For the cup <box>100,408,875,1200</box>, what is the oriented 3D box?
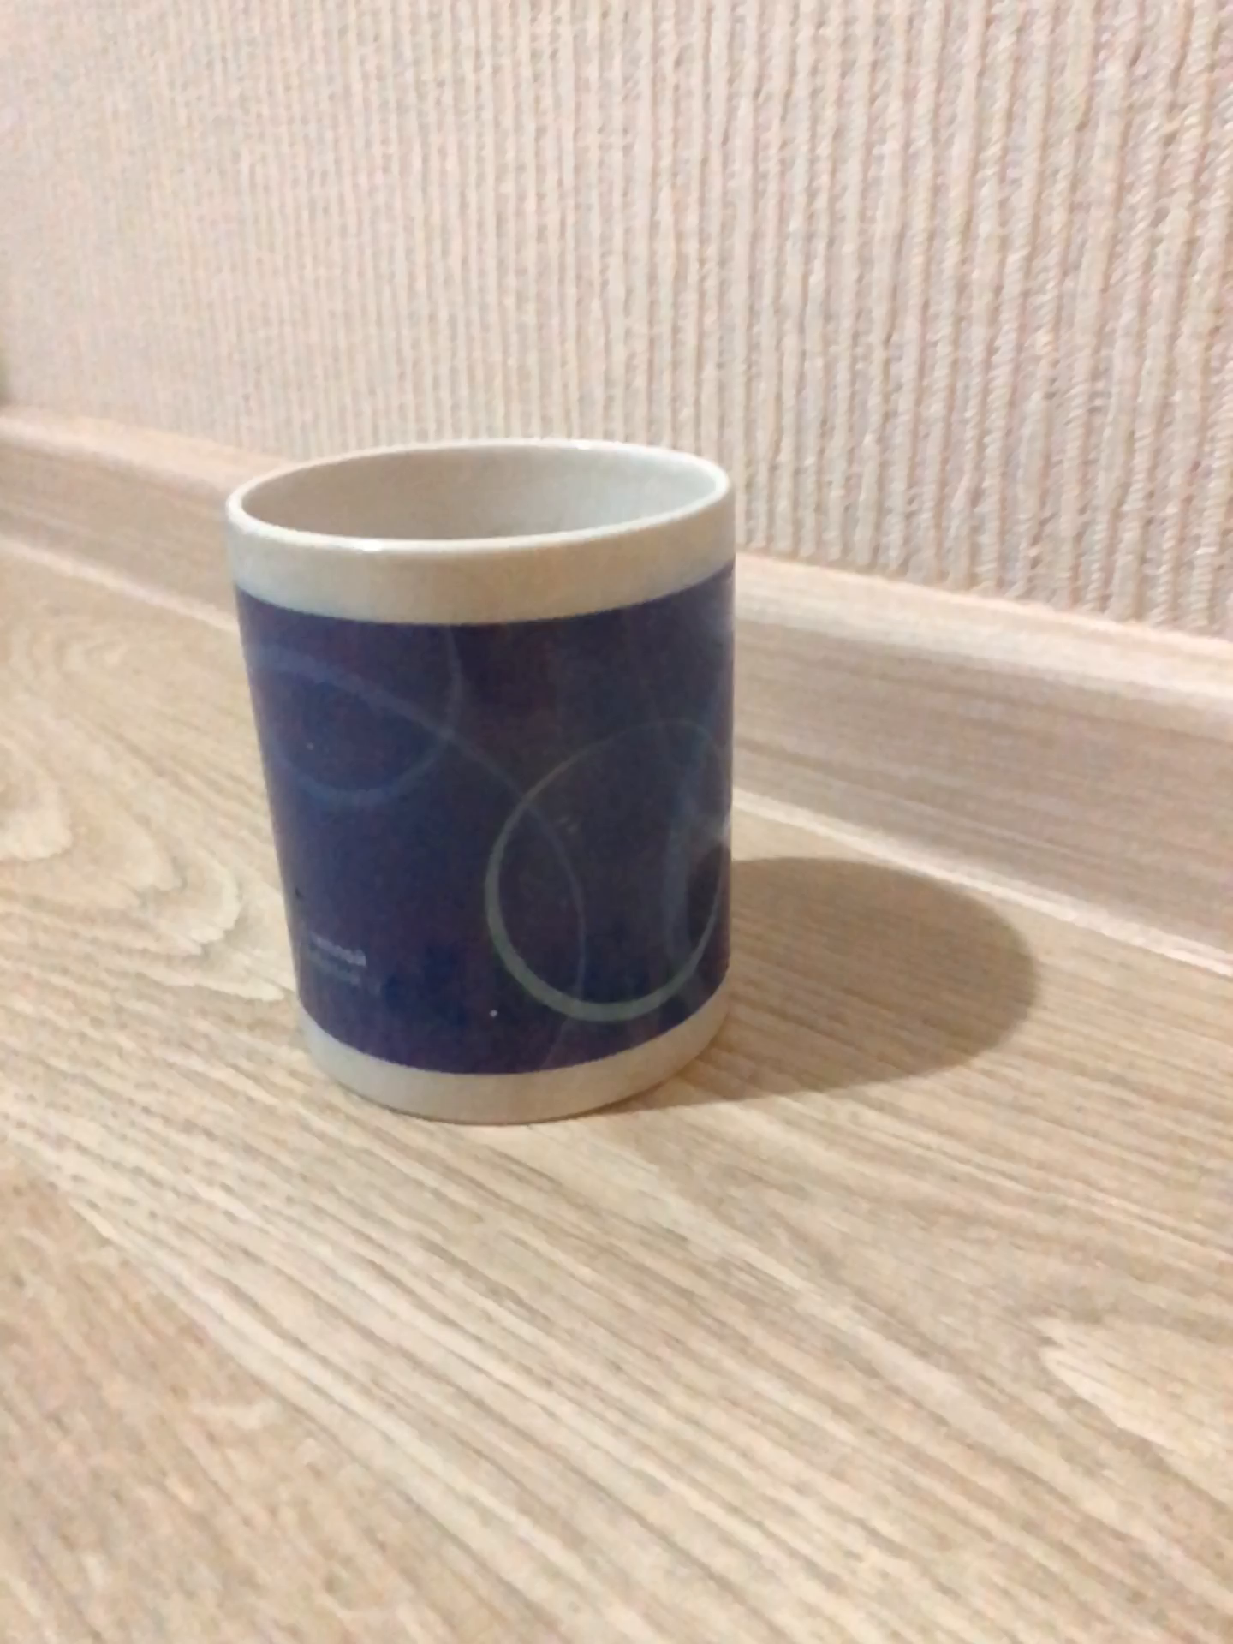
[{"bbox_3d":[-0.030,-0.018,0.264,0.094,0.099,0.123,-15,28,-28],"label":"cup"}]
